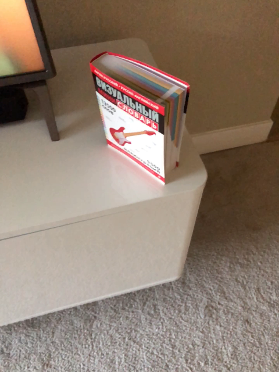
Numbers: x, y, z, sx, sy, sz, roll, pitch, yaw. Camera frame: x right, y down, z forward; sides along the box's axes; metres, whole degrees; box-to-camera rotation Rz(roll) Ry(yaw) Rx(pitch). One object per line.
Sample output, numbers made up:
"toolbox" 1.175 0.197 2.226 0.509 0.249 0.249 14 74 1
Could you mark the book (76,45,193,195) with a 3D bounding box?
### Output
"book" -0.008 -0.095 0.480 0.150 0.179 0.060 33 61 23
